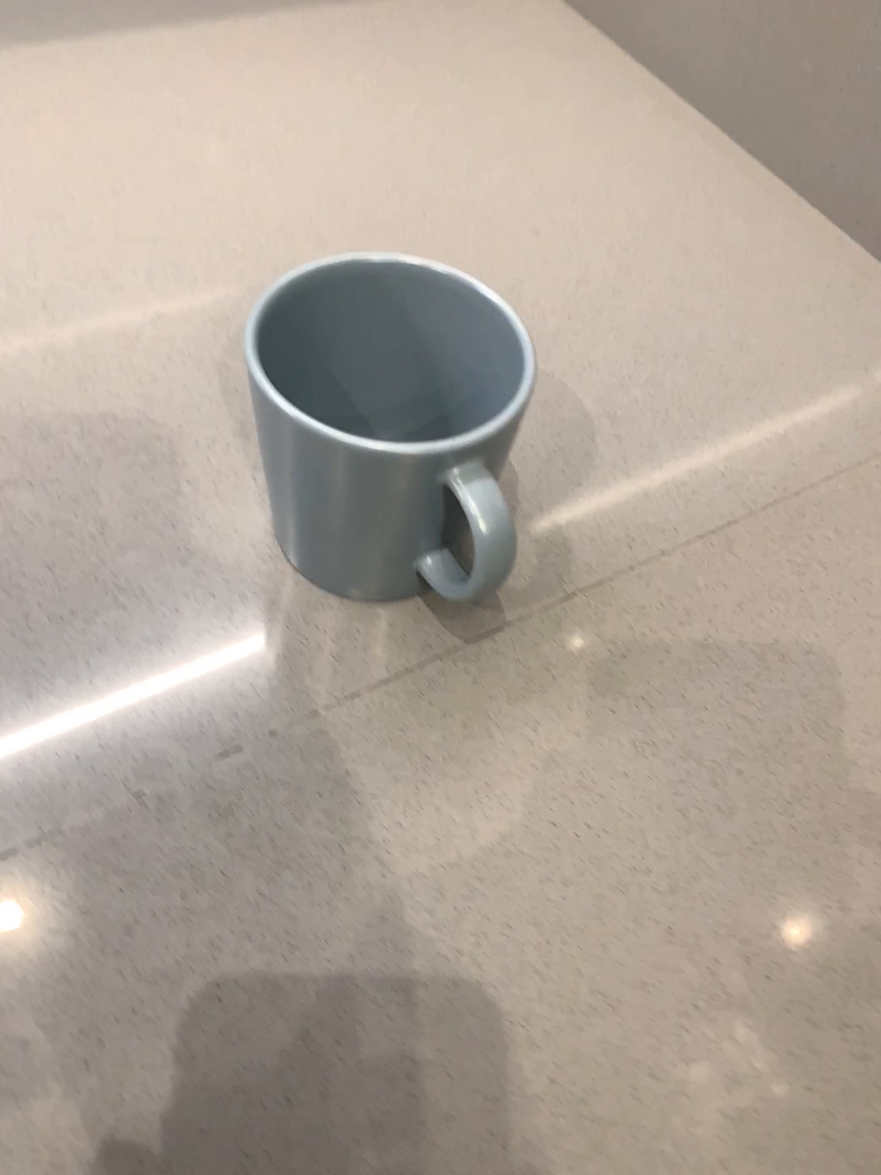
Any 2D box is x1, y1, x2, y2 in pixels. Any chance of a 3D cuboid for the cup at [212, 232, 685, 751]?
[{"bbox_3d":[-0.006,-0.035,0.312,0.090,0.090,0.130,-23,62,-22],"label":"cup"}]
